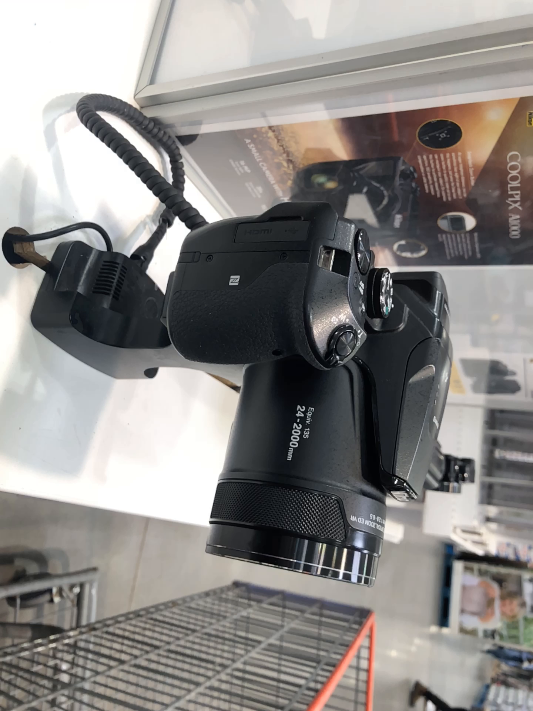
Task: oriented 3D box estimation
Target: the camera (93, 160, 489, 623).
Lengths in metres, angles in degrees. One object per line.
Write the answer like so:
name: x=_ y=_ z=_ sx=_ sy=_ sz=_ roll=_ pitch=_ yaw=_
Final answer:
camera: x=0.032 y=0.026 z=0.264 sx=0.141 sy=0.109 sz=0.150 roll=46 pitch=51 yaw=-58
